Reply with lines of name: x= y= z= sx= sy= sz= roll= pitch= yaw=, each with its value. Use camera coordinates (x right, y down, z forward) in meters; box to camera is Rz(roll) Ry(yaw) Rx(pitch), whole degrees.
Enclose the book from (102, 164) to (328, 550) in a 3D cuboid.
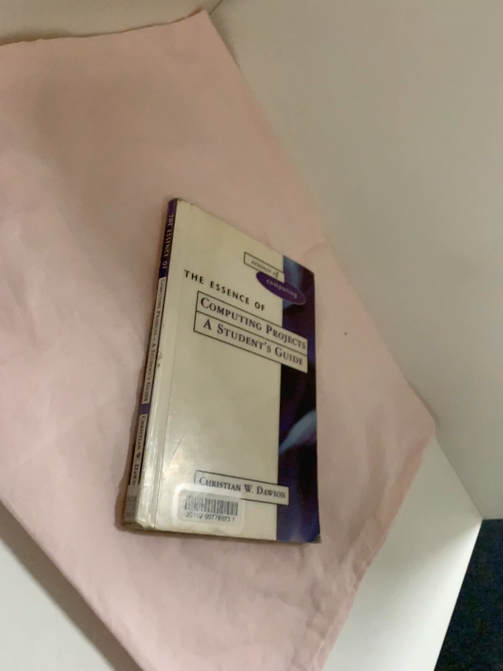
book: x=-0.010 y=0.017 z=0.394 sx=0.170 sy=0.020 sz=0.261 roll=21 pitch=59 yaw=-36
